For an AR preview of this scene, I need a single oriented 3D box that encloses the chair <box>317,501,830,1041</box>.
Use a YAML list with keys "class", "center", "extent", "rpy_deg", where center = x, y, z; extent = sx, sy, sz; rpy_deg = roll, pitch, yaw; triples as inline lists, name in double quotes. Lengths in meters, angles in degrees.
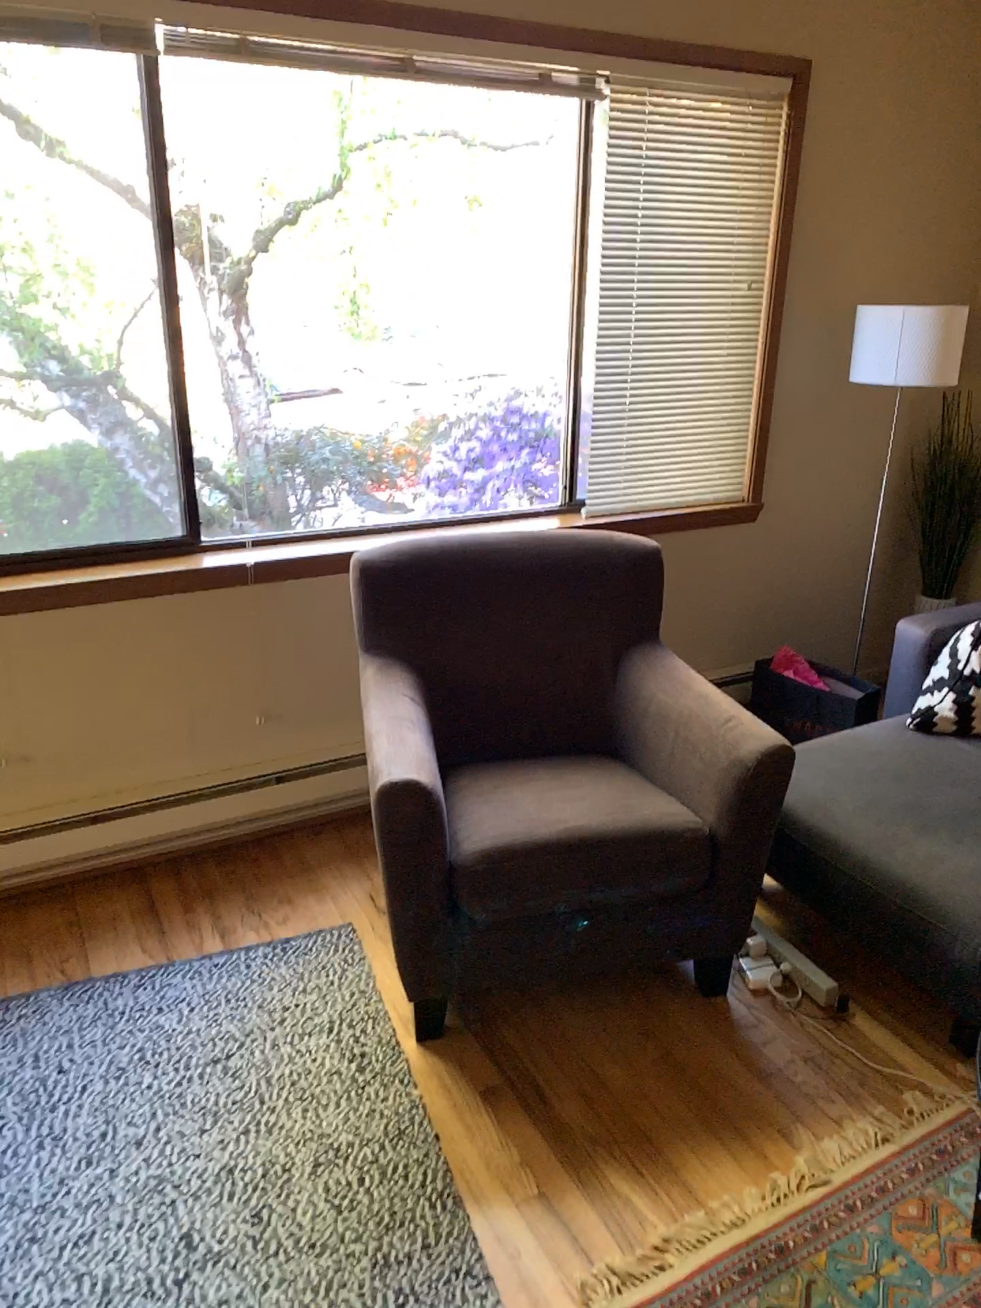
- class: "chair"
  center: [0.106, 0.173, 2.265]
  extent: [0.880, 0.876, 0.804]
  rpy_deg: [-4, 19, -14]
